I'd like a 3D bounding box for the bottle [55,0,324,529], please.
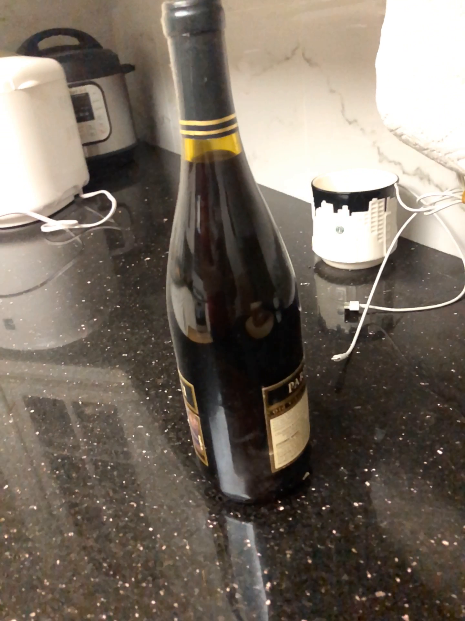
[{"bbox_3d":[0.000,-0.014,0.306,0.090,0.298,0.090,-6,29,3],"label":"bottle"}]
